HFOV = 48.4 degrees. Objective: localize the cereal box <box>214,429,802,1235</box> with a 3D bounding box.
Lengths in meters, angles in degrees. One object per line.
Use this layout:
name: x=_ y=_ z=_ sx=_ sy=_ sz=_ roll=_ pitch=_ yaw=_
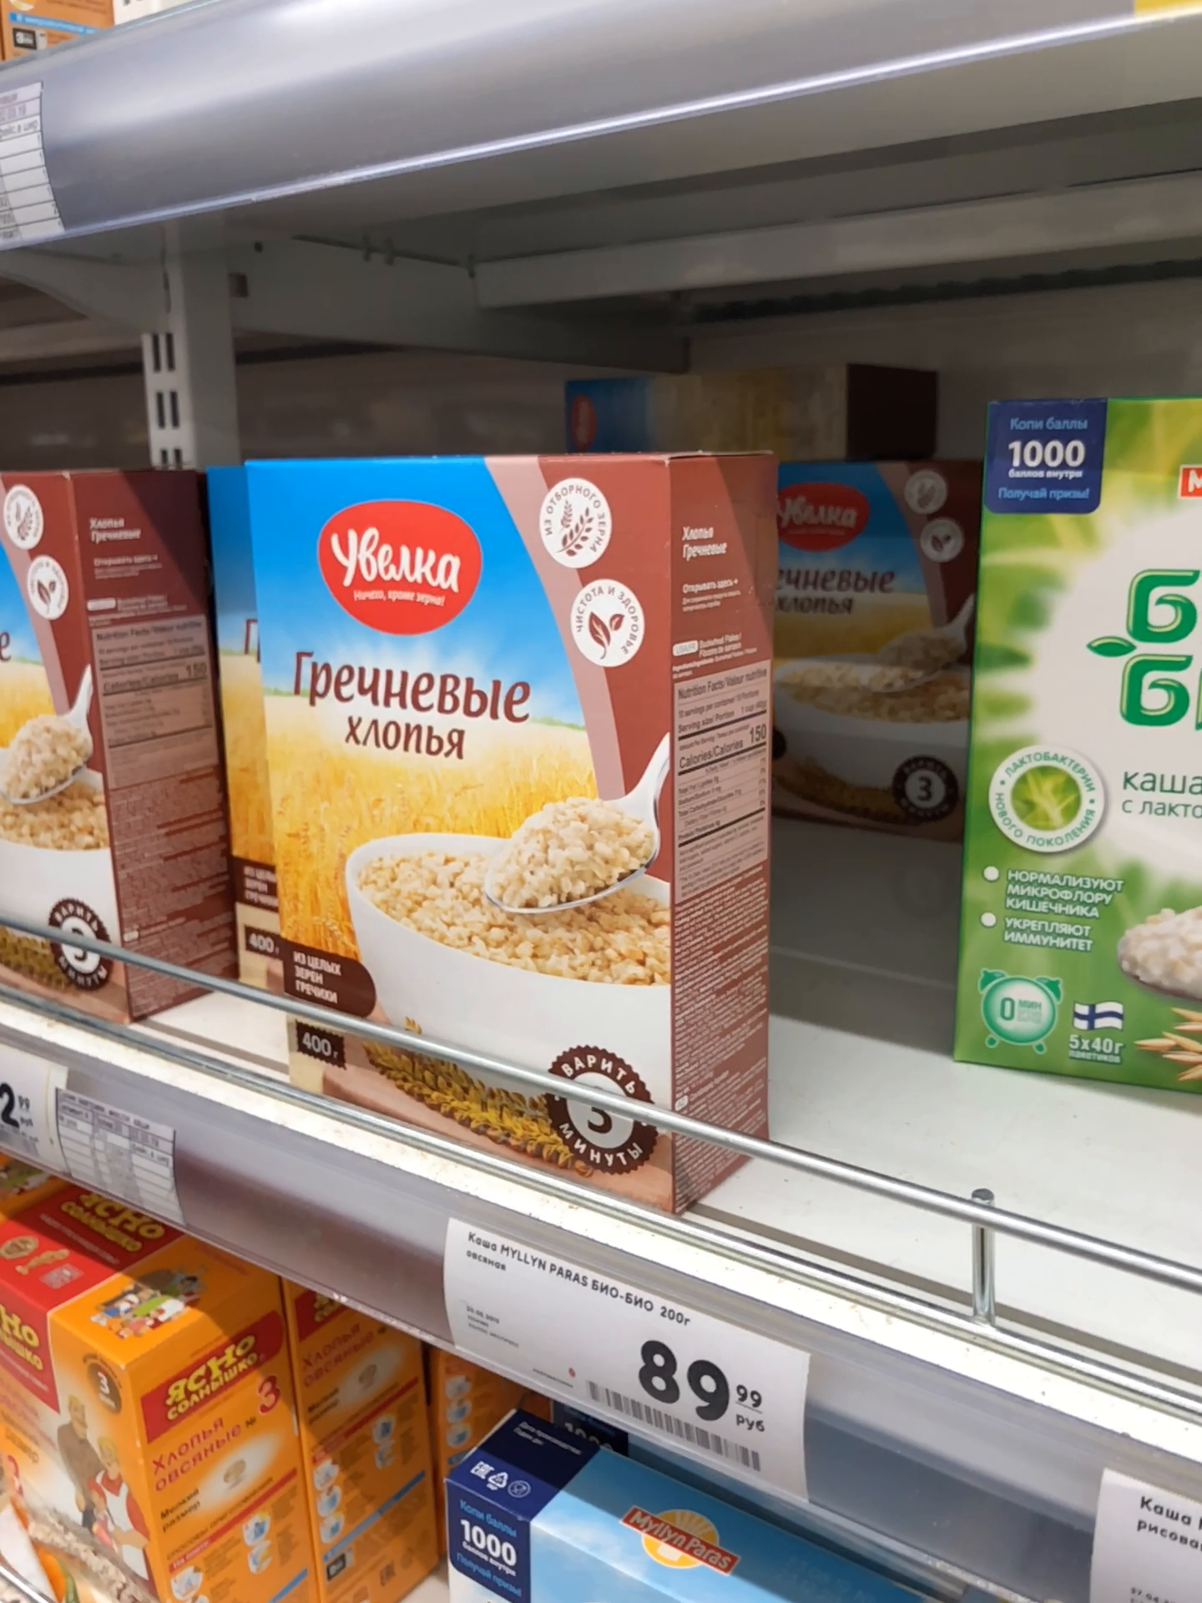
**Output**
cereal box: x=-0.027 y=-0.002 z=0.372 sx=0.150 sy=0.189 sz=0.060 roll=8 pitch=16 yaw=35
